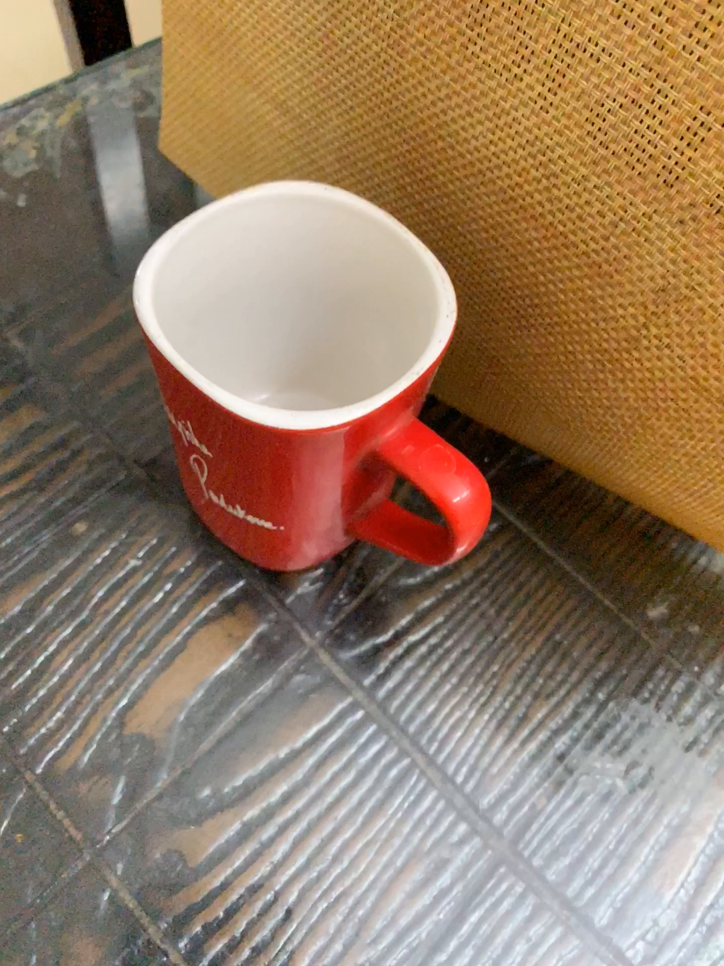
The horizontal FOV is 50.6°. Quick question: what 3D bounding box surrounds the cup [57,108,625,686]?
[{"bbox_3d":[-0.009,-0.020,0.194,0.070,0.080,0.100,-36,71,-23],"label":"cup"}]
